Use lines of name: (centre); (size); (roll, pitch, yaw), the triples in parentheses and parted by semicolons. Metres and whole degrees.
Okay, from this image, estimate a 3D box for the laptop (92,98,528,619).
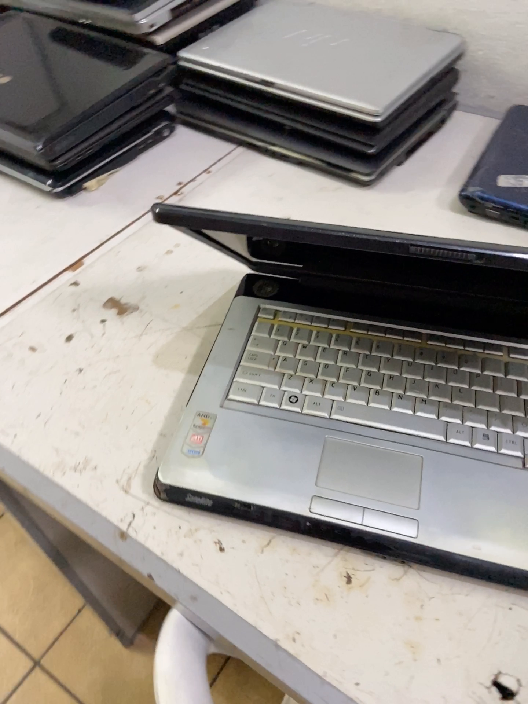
laptop: (0.118, -0.019, 0.389); (0.355, 0.185, 0.258); (10, 51, 12)
